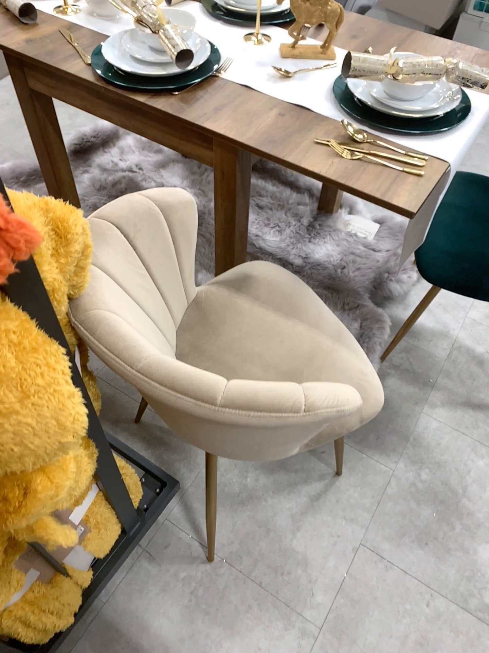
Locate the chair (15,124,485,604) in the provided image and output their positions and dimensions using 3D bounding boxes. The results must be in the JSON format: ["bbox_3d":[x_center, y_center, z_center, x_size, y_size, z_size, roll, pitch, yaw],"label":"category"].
[{"bbox_3d":[-0.029,0.101,1.077,0.536,0.723,0.563,-24,56,-20],"label":"chair"}]
